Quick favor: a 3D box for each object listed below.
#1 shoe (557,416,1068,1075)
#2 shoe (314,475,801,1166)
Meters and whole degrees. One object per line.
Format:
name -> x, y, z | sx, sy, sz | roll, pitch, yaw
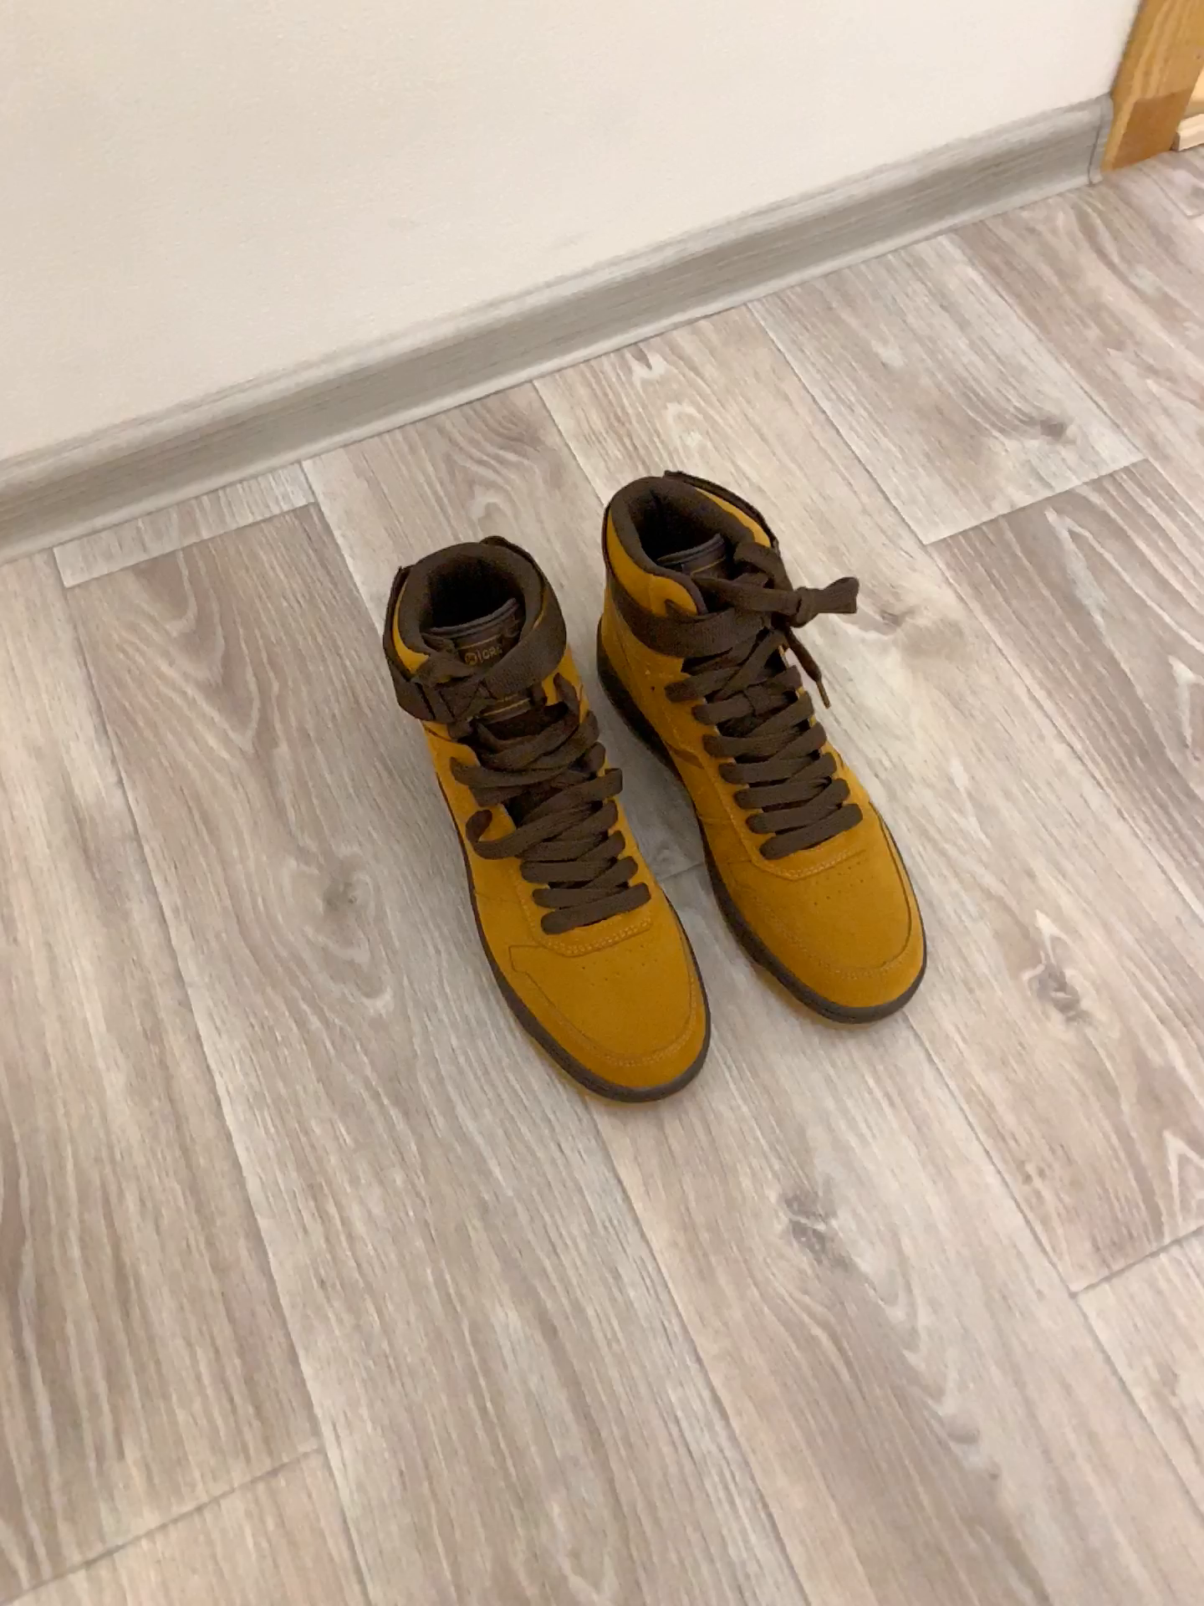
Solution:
shoe -> 0.084, -0.031, 0.611 | 0.101, 0.140, 0.280 | -23, 63, -11
shoe -> -0.028, 0.006, 0.584 | 0.101, 0.140, 0.280 | -23, 63, -11
